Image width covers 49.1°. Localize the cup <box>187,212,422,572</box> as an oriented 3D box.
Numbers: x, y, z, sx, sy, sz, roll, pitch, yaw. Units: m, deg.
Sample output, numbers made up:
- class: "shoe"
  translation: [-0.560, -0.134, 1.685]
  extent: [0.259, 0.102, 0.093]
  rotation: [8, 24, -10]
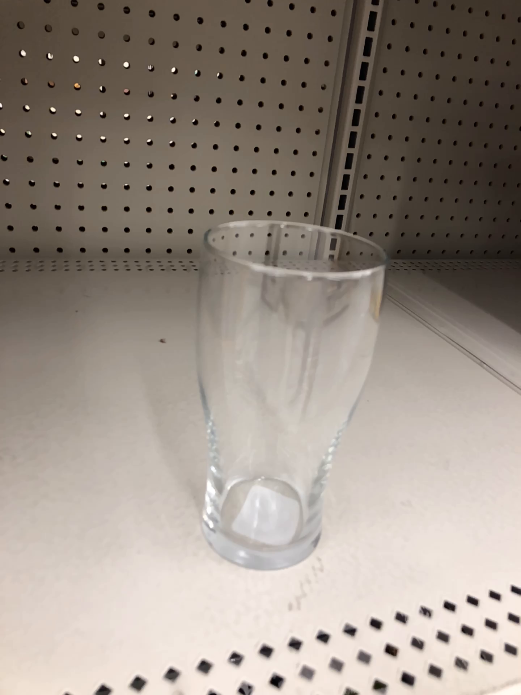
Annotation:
- class: "cup"
  translation: [0.008, 0.019, 0.261]
  extent: [0.076, 0.138, 0.081]
  rotation: [5, 25, -2]
